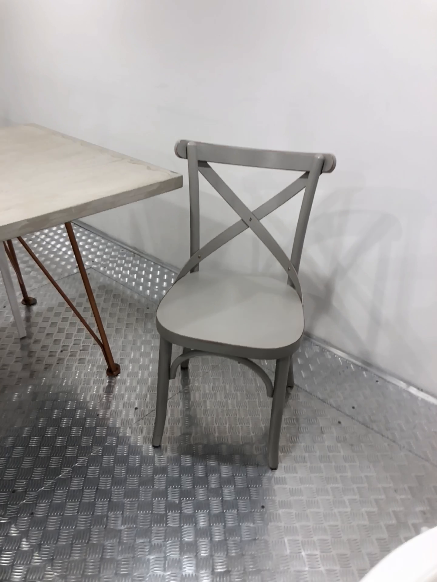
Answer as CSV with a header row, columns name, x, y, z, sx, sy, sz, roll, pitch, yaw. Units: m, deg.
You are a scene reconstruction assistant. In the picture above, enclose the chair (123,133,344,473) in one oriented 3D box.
name,x,y,z,sx,sy,sz,roll,pitch,yaw
chair,0.045,0.030,1.530,0.510,0.893,0.504,8,30,7
